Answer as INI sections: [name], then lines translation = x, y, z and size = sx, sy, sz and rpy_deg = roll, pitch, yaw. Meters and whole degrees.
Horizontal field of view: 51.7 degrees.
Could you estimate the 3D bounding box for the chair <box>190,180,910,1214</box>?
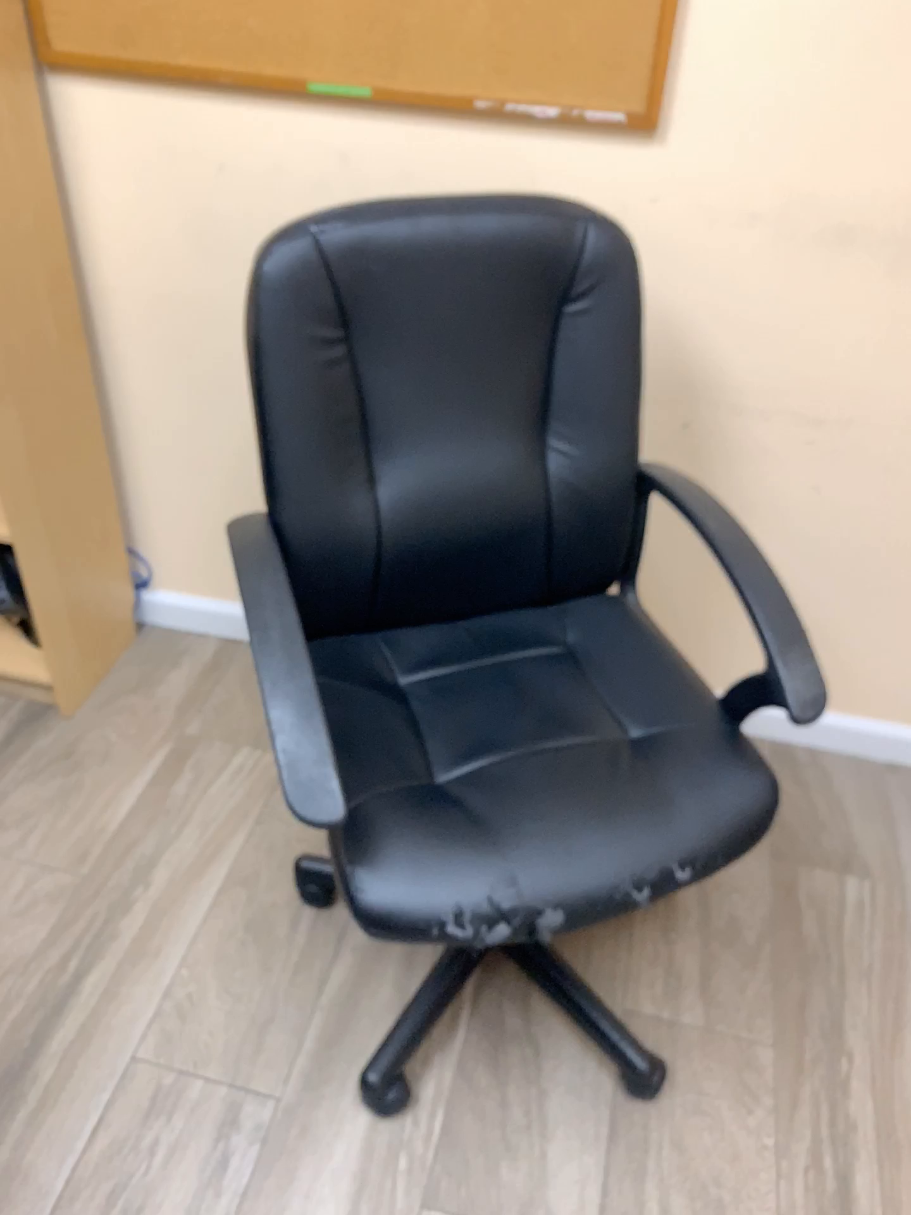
[chair]
translation = 0.114, 0.099, 1.136
size = 0.683, 0.987, 0.647
rpy_deg = -8, 39, -16
